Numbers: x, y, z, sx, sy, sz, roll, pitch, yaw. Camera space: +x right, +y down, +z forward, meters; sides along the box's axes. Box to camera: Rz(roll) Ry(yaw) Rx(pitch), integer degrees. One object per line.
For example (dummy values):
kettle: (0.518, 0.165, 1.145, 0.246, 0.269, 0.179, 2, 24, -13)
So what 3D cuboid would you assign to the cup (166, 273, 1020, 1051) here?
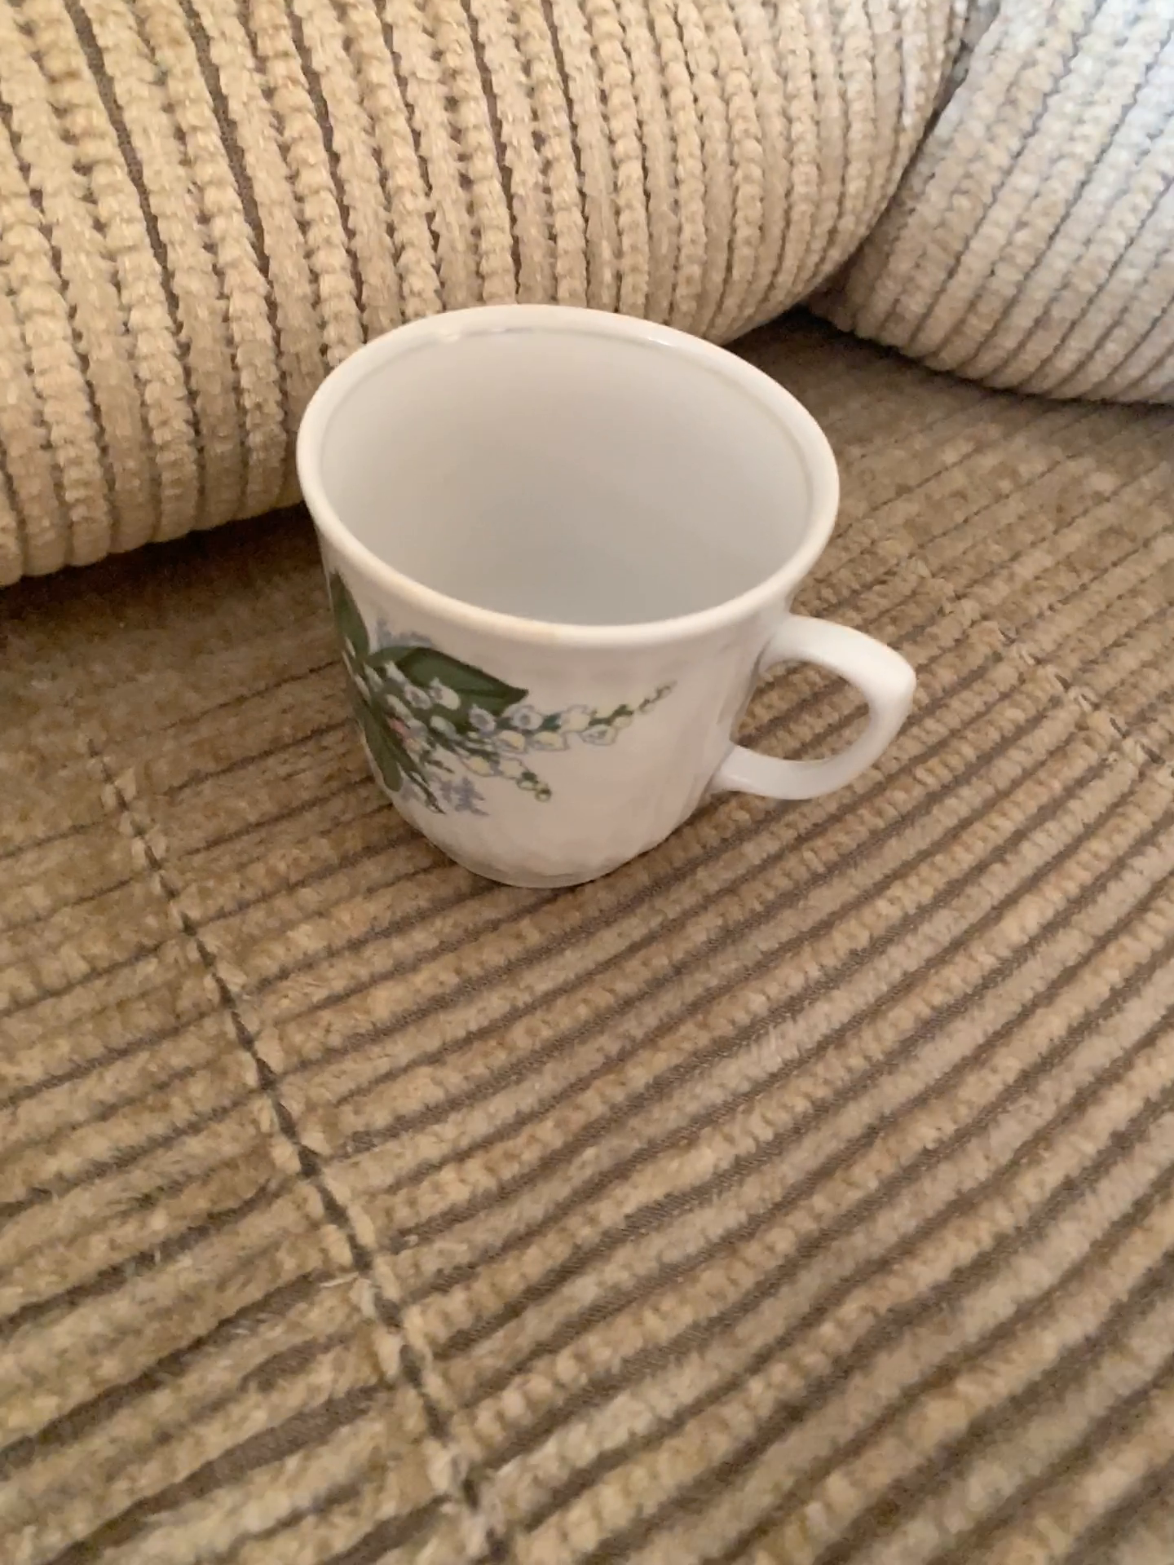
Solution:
cup: (0.008, -0.027, 0.220, 0.112, 0.077, 0.096, 13, 47, 11)
